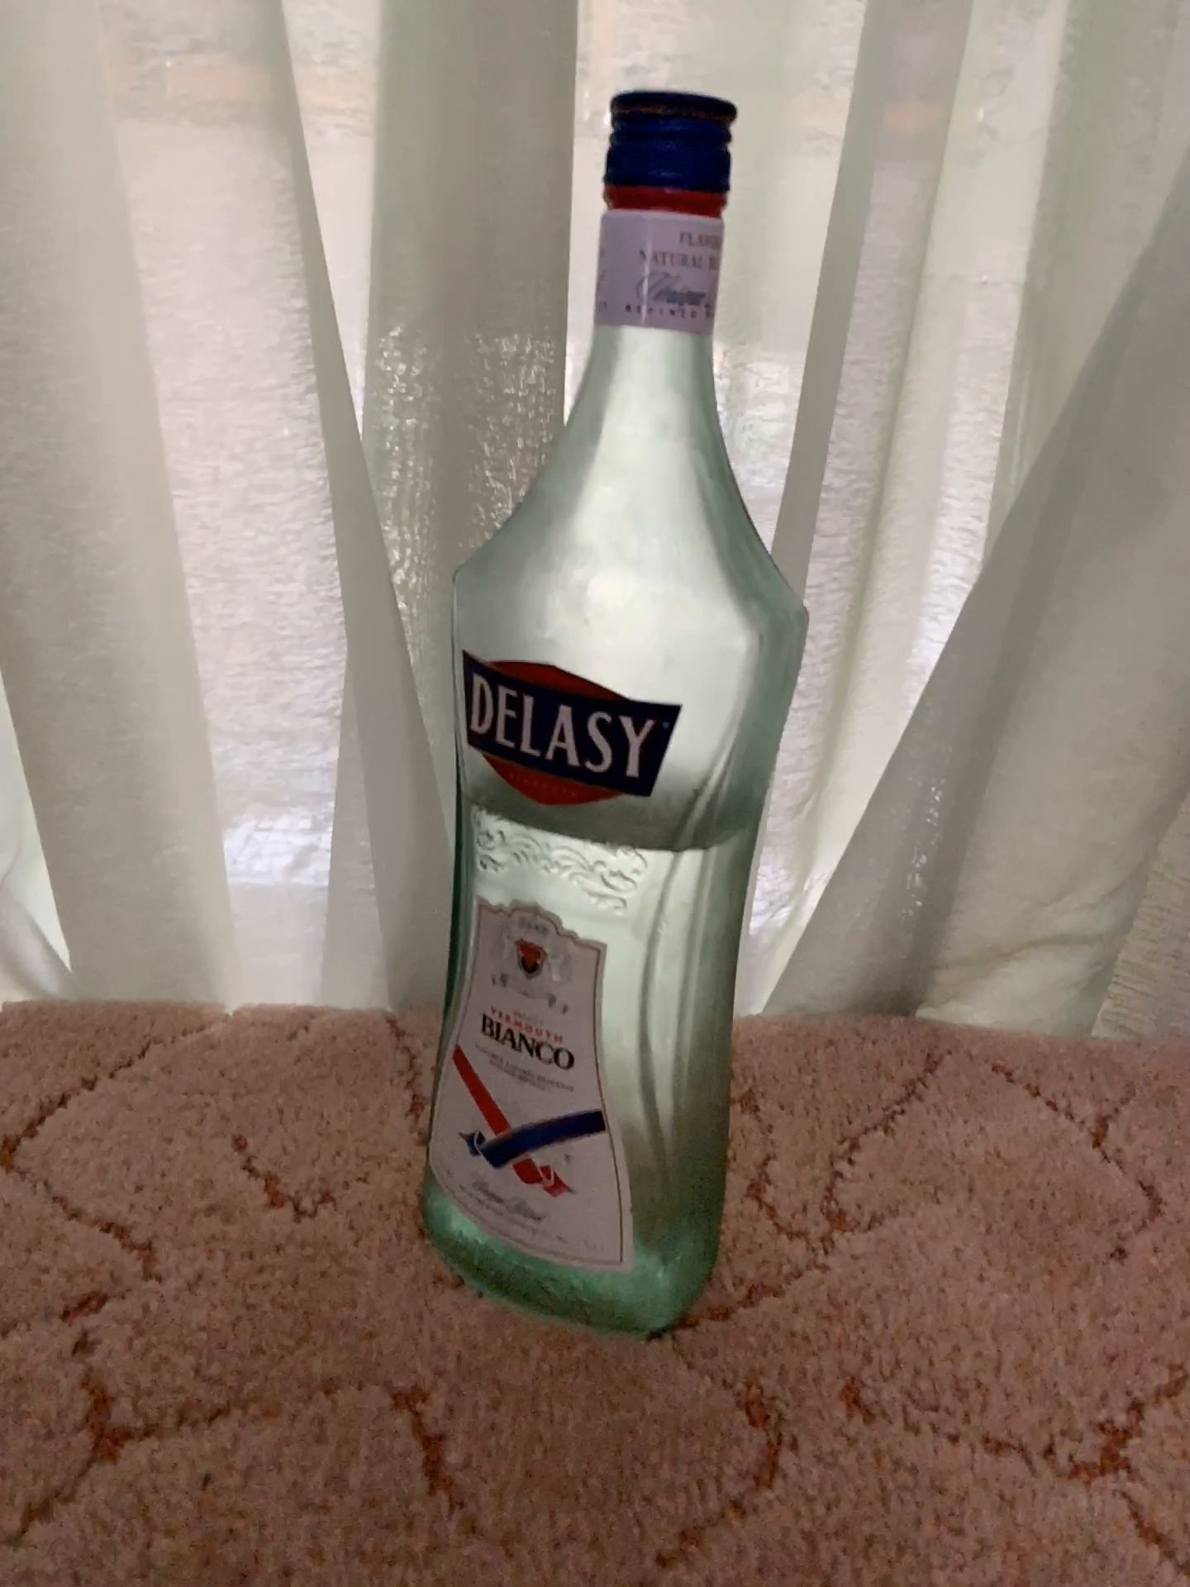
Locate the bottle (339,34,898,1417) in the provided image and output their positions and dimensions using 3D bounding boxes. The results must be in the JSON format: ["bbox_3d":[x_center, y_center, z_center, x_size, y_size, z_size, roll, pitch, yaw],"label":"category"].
[{"bbox_3d":[-0.003,-0.005,0.329,0.110,0.328,0.060,16,24,32],"label":"bottle"}]
